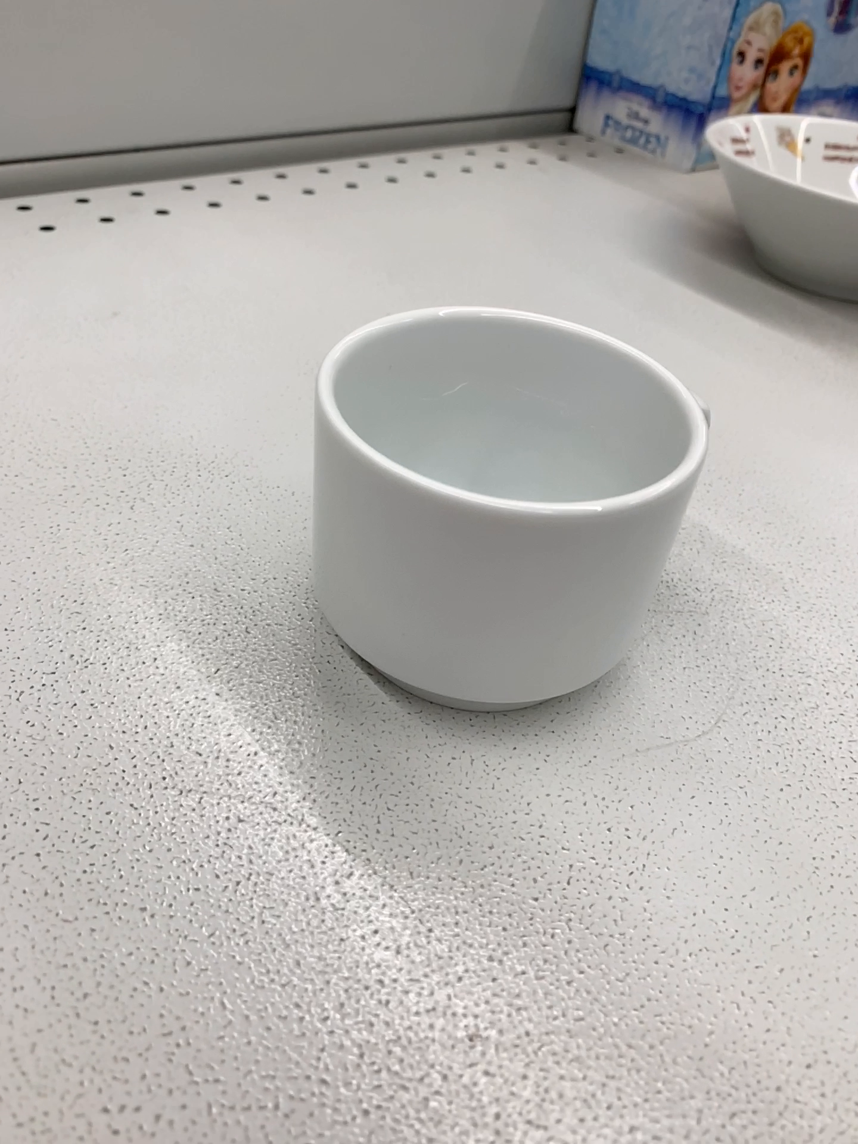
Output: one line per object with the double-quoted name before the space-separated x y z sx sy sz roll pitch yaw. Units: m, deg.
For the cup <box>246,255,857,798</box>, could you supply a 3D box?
"cup" 0.027 -0.020 0.198 0.105 0.056 0.082 -22 48 -30
